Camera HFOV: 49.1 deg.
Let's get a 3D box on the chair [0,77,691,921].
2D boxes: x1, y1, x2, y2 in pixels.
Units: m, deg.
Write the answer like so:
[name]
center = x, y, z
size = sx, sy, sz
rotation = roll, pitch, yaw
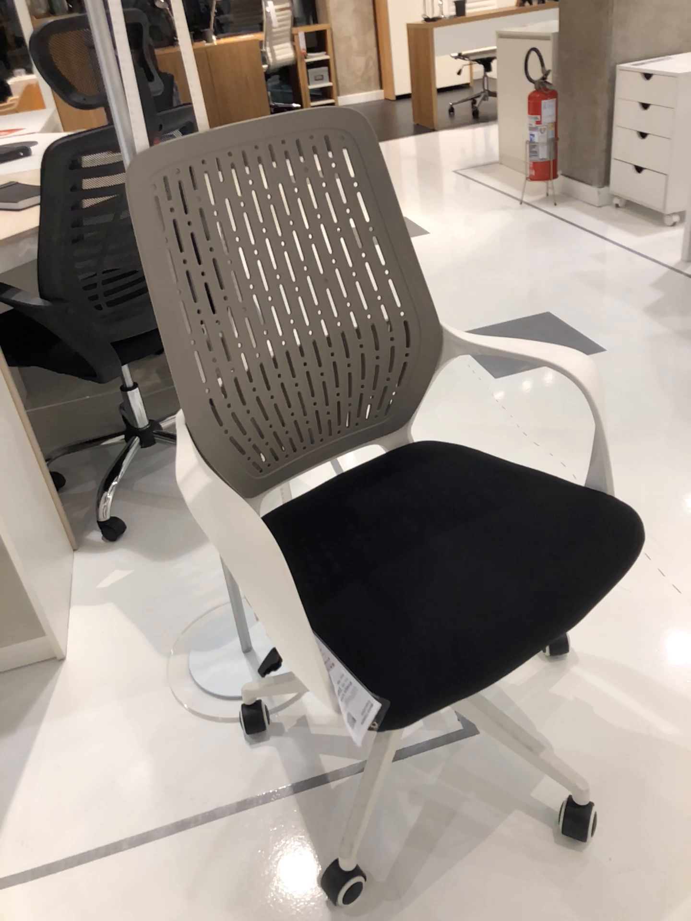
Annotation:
[chair]
center = 0.101, 0.058, 1.097
size = 0.692, 1.003, 0.673
rotation = -25, 35, -26
